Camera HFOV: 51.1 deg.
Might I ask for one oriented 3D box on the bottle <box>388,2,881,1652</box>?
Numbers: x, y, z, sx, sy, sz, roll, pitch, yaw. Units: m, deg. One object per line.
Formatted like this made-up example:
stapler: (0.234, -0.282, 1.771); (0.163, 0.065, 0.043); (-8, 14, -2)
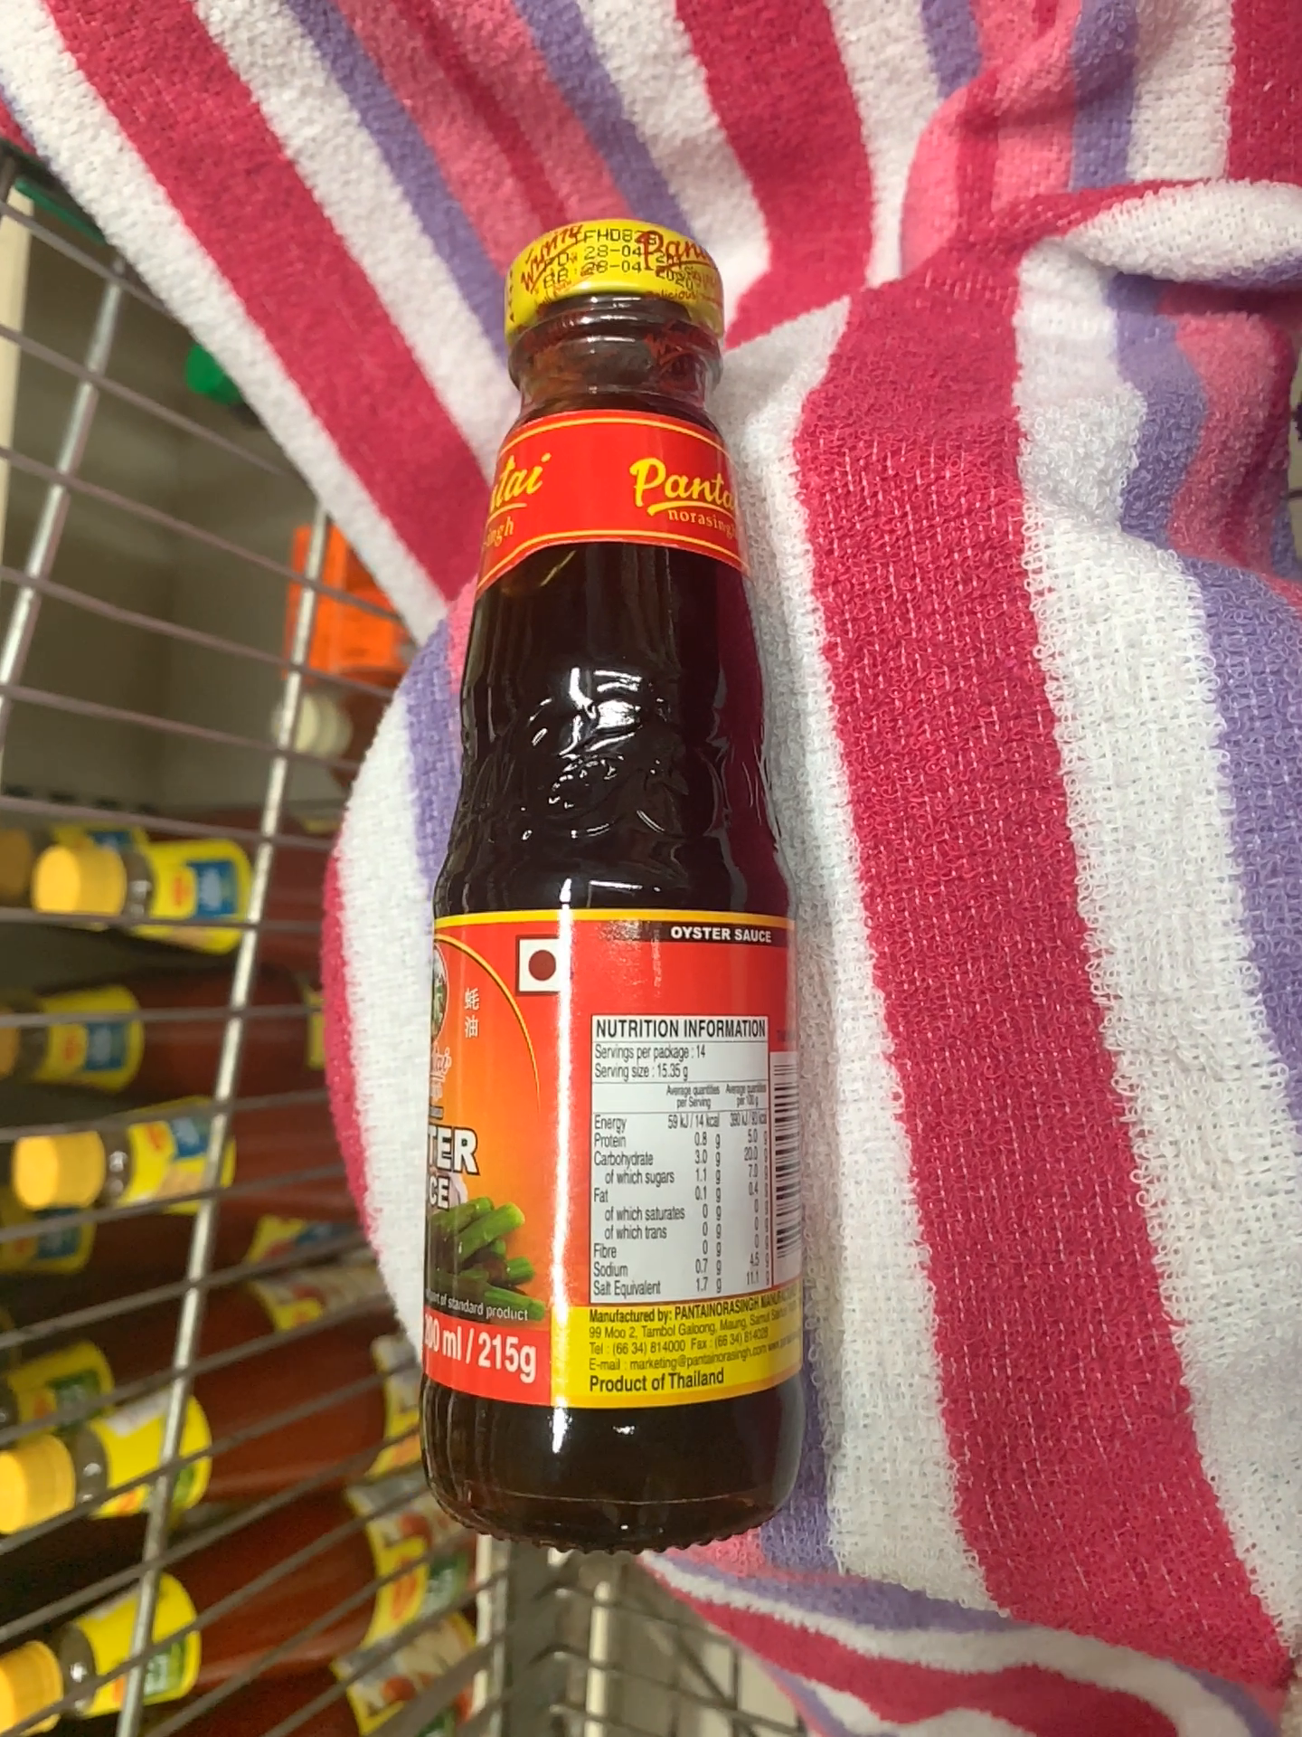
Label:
bottle: (-0.003, -0.007, 0.186); (0.050, 0.050, 0.190); (161, 111, -70)
